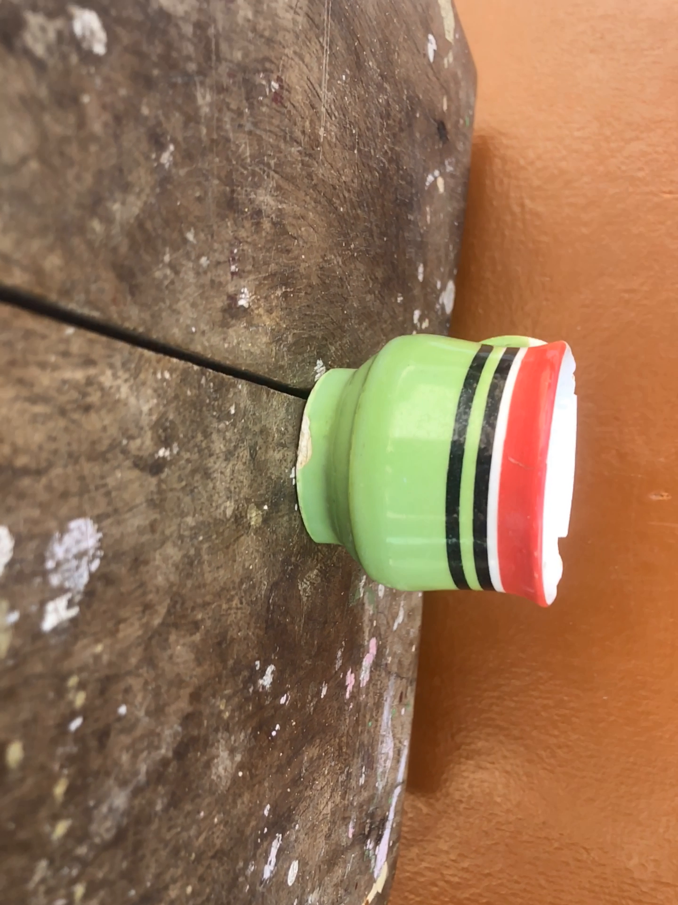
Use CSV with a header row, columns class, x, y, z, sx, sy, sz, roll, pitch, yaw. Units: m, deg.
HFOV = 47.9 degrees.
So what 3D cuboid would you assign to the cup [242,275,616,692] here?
class,x,y,z,sx,sy,sz,roll,pitch,yaw
cup,0.031,-0.002,0.192,0.090,0.070,0.070,-47,137,-62
